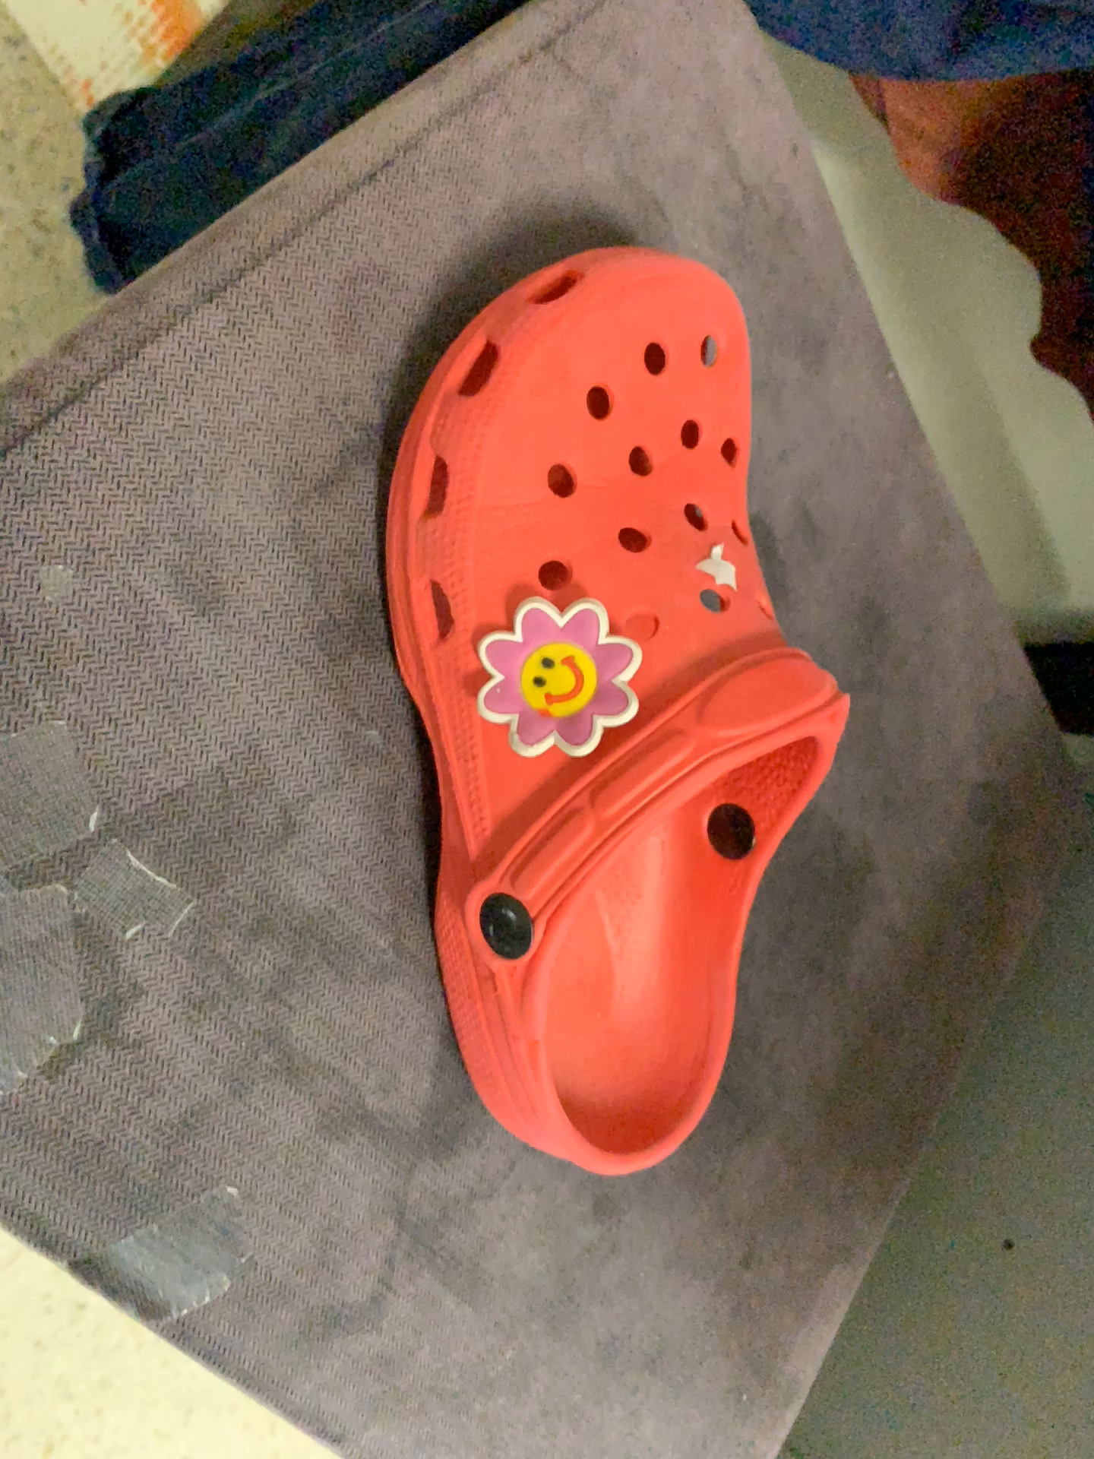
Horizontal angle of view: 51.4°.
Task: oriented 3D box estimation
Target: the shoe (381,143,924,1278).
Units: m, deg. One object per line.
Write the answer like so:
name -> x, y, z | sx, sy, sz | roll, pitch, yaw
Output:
shoe -> 0.025, -0.005, 0.268 | 0.093, 0.081, 0.208 | -5, 98, -39
